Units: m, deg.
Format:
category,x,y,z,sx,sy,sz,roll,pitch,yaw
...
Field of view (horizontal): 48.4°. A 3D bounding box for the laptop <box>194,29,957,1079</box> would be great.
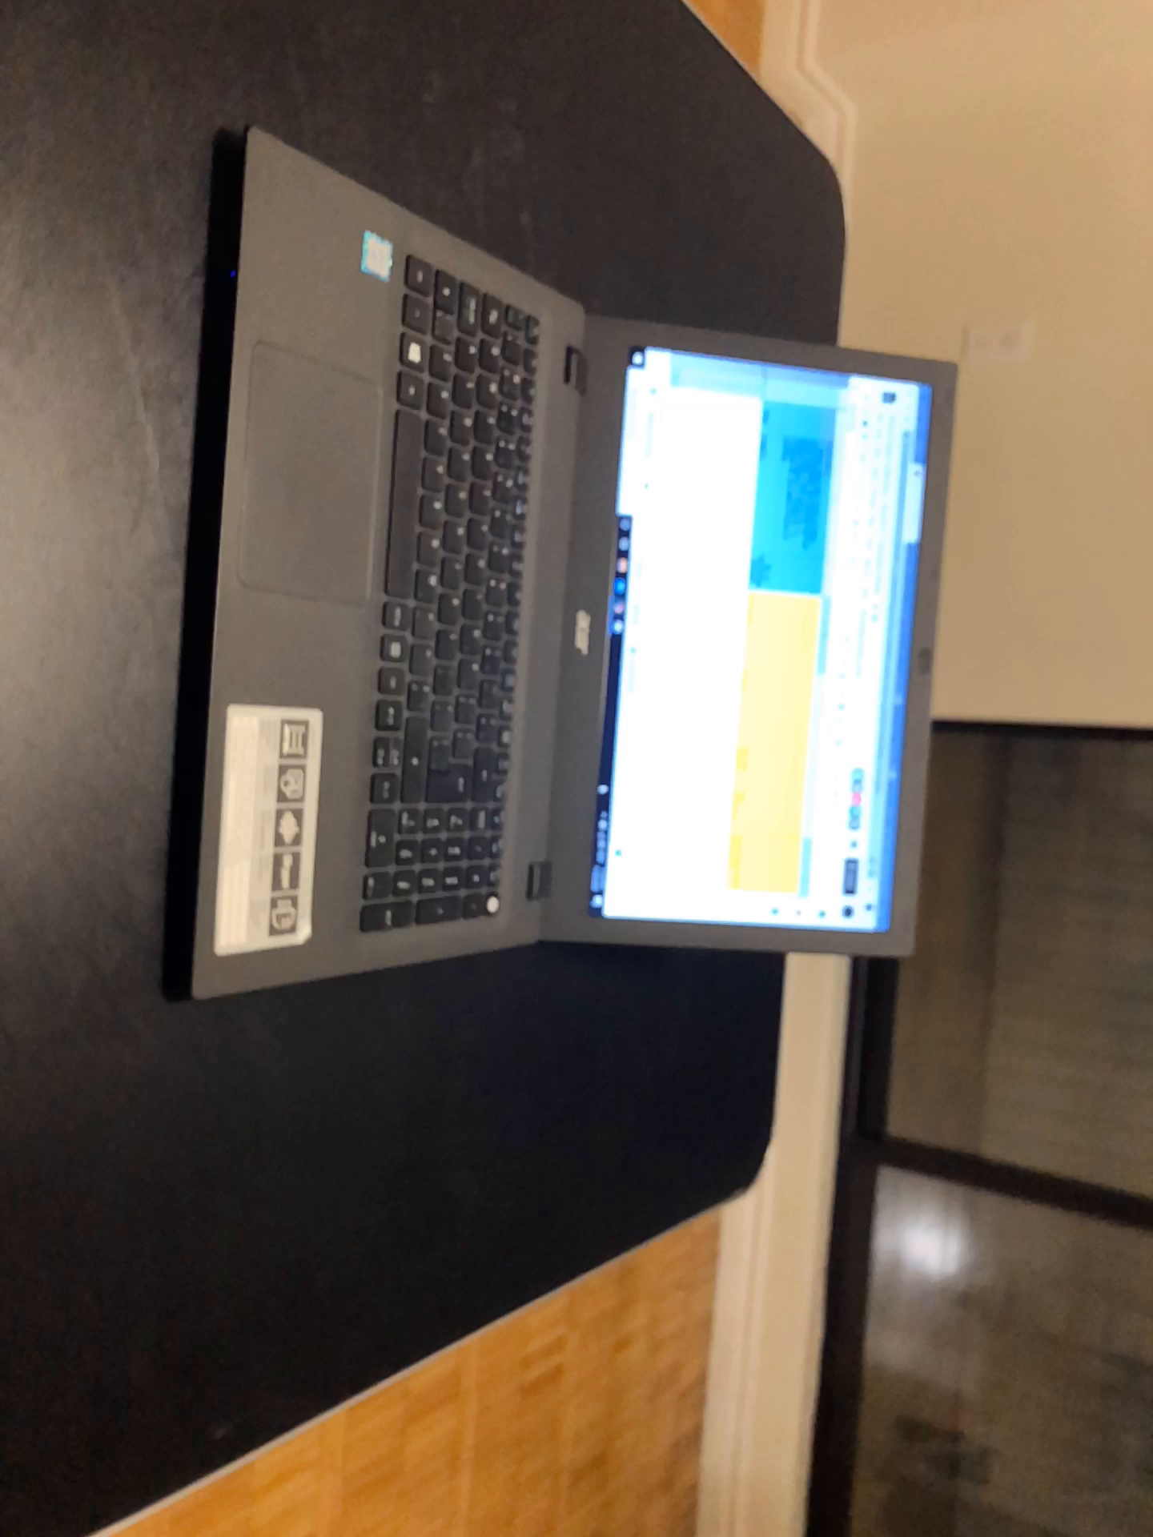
category,x,y,z,sx,sy,sz,roll,pitch,yaw
laptop,0.037,-0.071,0.679,0.432,0.161,0.374,3,91,-55
